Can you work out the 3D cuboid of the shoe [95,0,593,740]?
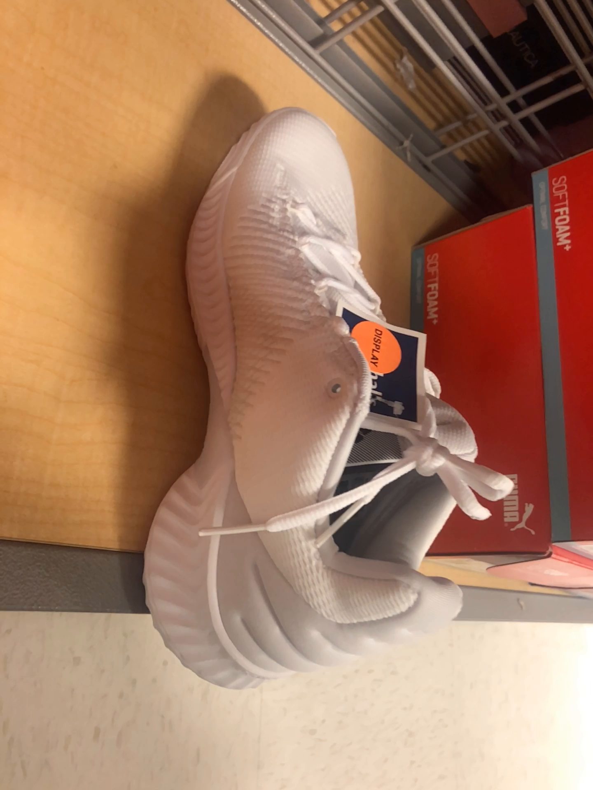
[{"bbox_3d":[0.037,-0.037,0.312,0.121,0.149,0.336,29,59,-42],"label":"shoe"}]
